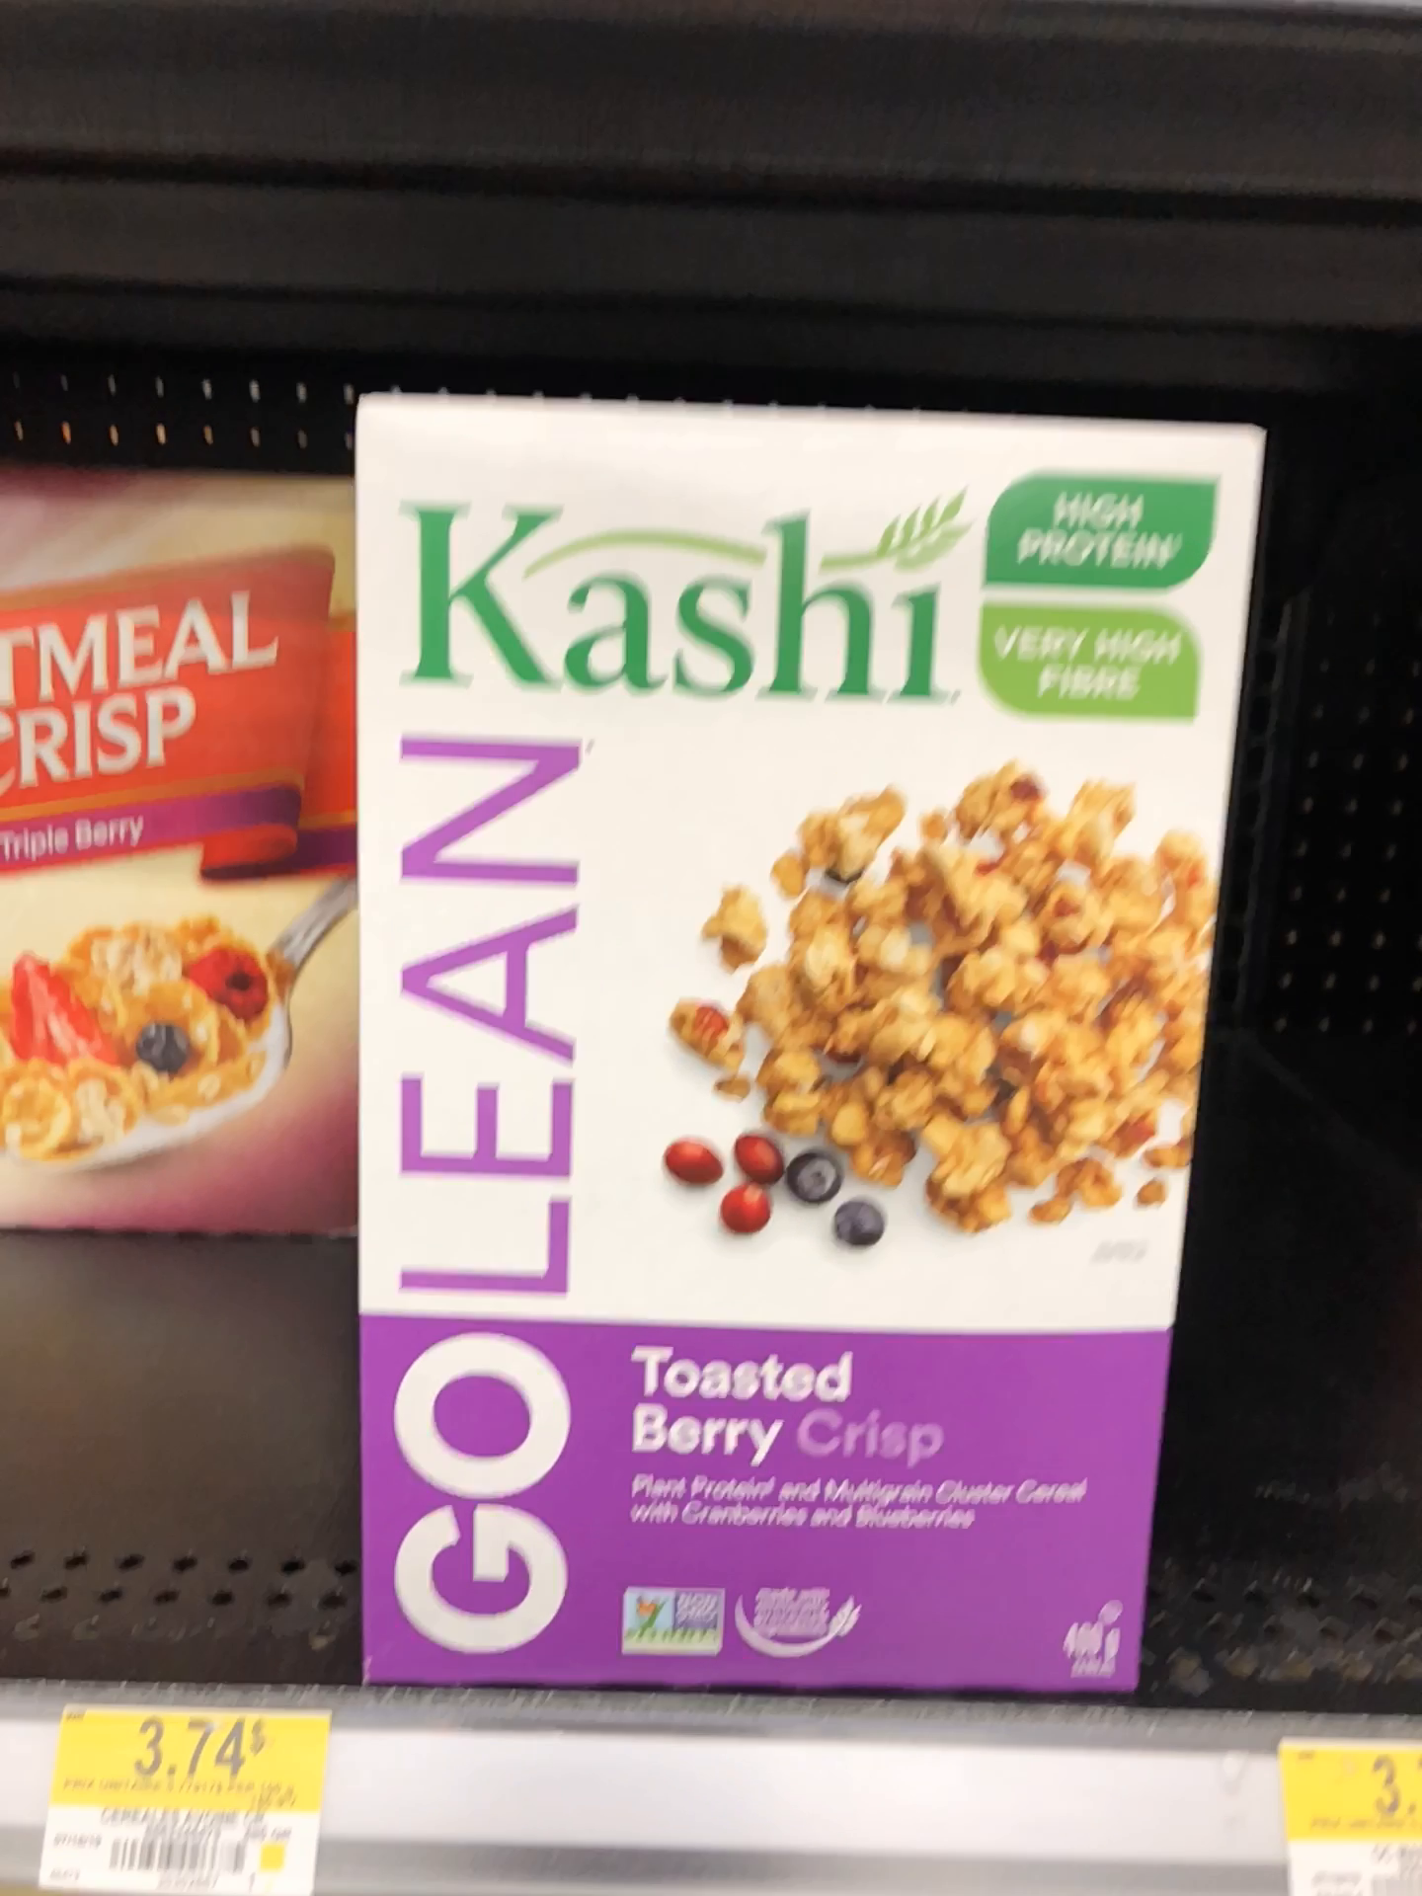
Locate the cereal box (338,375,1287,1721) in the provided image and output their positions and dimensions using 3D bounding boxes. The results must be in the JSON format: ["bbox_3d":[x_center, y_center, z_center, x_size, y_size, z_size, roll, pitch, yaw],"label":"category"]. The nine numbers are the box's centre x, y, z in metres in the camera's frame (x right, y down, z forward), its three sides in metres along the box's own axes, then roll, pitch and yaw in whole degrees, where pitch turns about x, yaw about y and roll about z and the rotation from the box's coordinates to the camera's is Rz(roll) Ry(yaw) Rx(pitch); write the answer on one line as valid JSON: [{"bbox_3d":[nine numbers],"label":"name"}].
[{"bbox_3d":[0.013,0.028,0.333,0.170,0.269,0.050,2,12,-3],"label":"cereal box"}]
